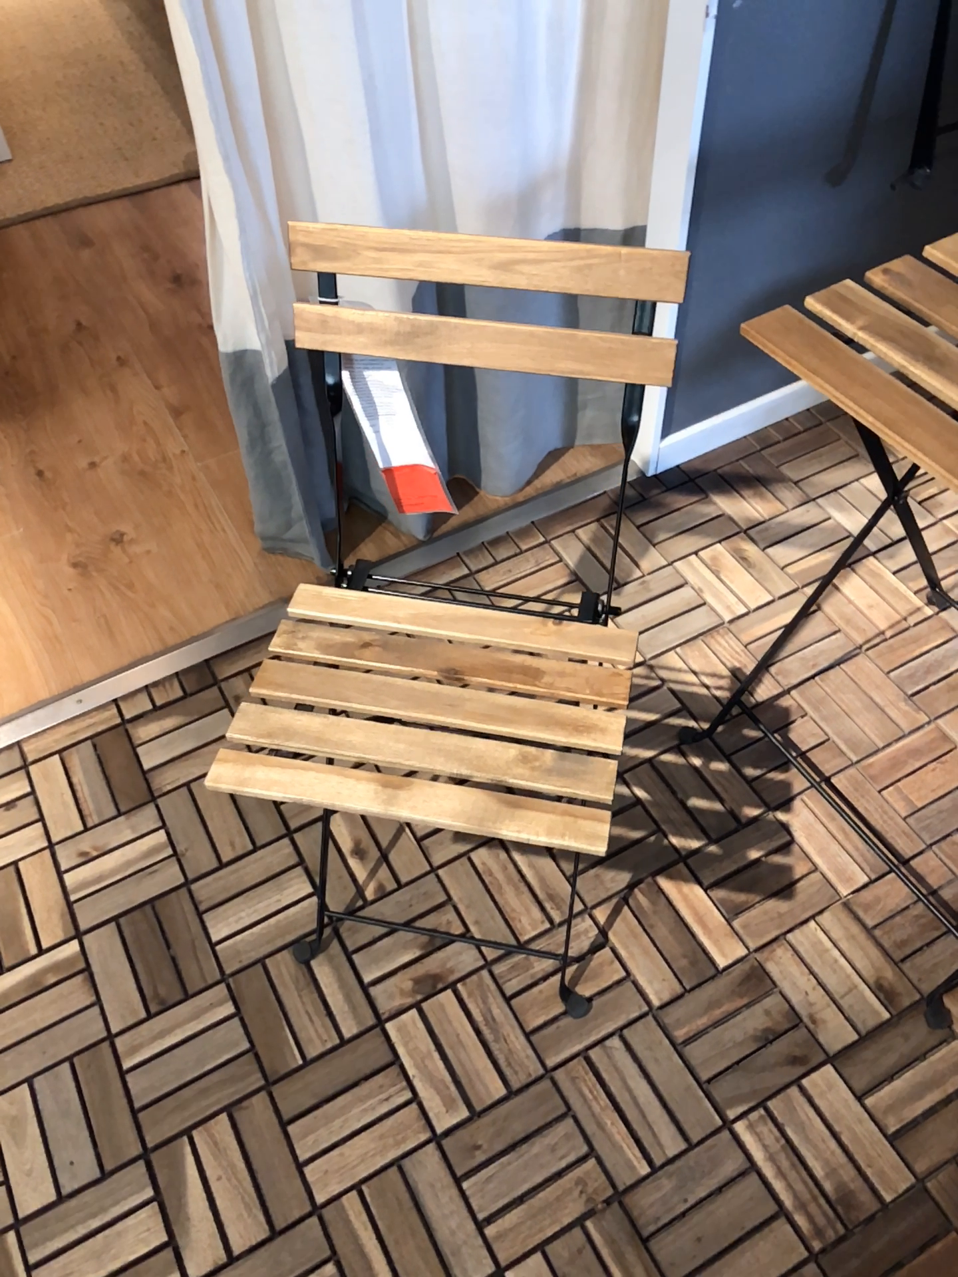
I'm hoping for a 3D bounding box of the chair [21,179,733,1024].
[{"bbox_3d":[-0.032,0.011,1.059,0.430,0.726,0.432,8,52,8],"label":"chair"}]
